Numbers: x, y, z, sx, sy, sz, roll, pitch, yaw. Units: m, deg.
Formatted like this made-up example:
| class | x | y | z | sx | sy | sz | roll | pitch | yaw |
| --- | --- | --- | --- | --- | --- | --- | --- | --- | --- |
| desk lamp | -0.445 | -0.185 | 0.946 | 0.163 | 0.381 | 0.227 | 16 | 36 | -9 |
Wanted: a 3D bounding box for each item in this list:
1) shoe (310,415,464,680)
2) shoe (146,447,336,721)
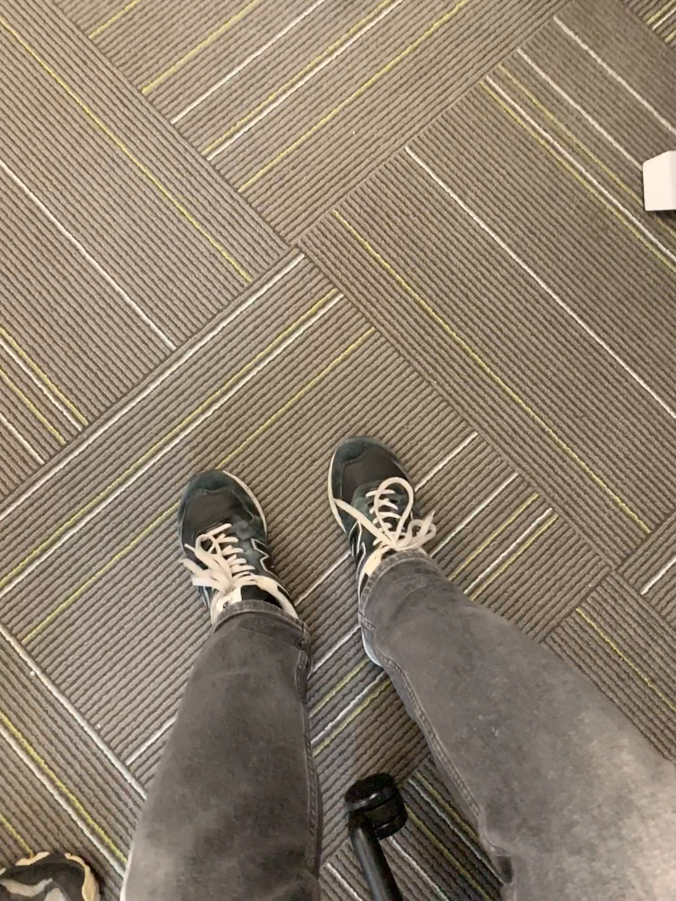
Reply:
| class | x | y | z | sx | sy | sz | roll | pitch | yaw |
| --- | --- | --- | --- | --- | --- | --- | --- | --- | --- |
| shoe | 0.056 | 0.117 | 0.860 | 0.119 | 0.071 | 0.294 | -13 | 82 | -3 |
| shoe | -0.118 | 0.159 | 0.850 | 0.121 | 0.071 | 0.295 | -23 | 83 | -4 |
